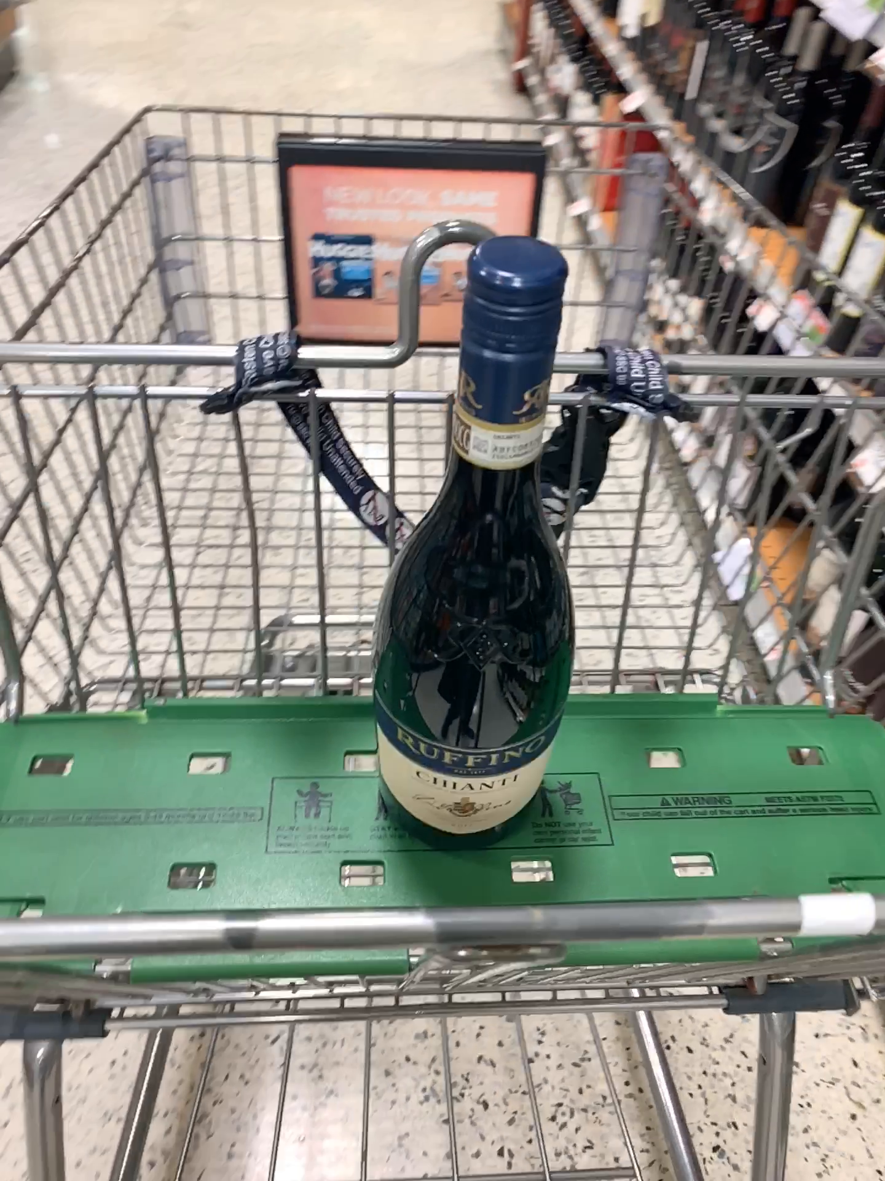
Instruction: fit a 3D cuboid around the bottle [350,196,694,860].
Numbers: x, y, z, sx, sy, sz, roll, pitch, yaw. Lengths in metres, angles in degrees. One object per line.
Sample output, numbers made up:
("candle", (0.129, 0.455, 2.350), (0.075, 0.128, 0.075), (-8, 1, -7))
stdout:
("bottle", (0.012, -0.002, 0.361), (0.090, 0.267, 0.091), (2, 45, -2))
